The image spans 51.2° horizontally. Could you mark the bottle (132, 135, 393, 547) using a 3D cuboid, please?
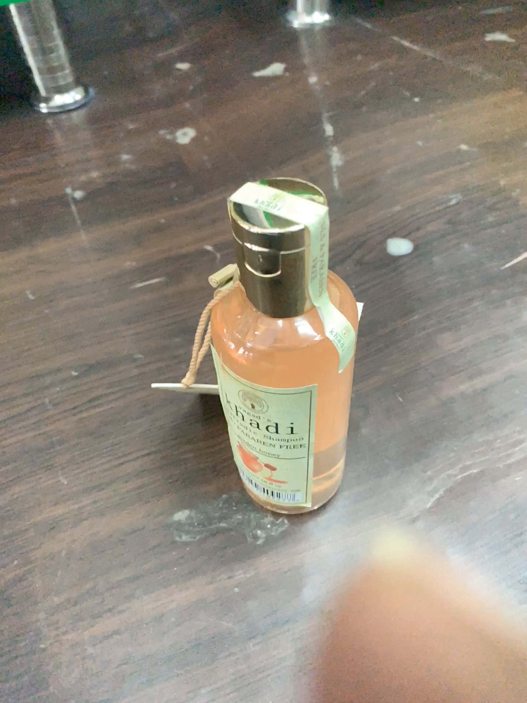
[{"bbox_3d":[0.005,0.009,0.201,0.050,0.150,0.050,-2,49,2],"label":"bottle"}]
